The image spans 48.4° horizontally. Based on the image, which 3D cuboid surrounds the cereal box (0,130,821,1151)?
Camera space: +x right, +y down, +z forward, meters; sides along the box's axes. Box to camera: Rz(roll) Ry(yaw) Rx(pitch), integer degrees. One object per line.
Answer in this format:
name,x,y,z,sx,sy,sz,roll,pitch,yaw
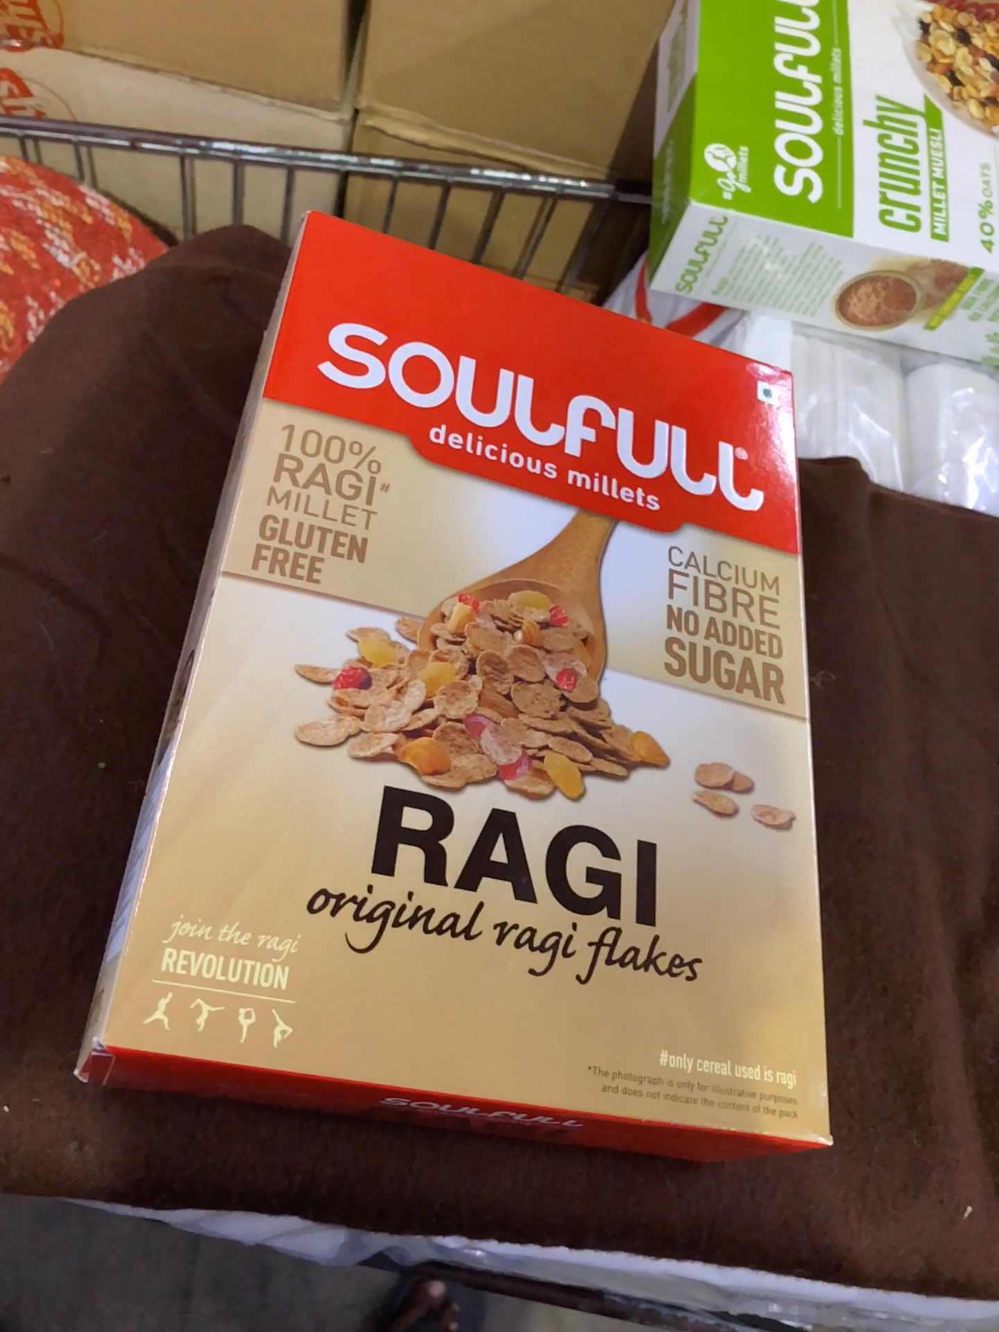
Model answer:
cereal box,-0.009,-0.011,0.295,0.170,0.050,0.241,13,62,-16
